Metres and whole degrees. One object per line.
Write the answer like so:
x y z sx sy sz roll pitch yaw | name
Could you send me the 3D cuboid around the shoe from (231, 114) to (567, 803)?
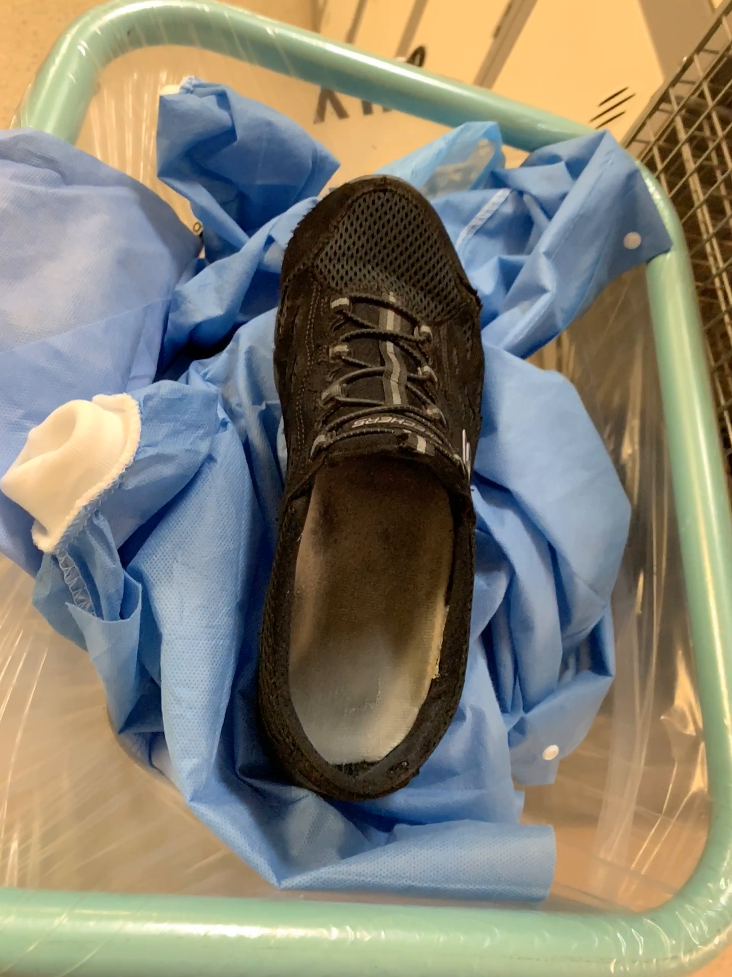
0.008 -0.011 0.308 0.088 0.094 0.255 8 66 -15 | shoe
